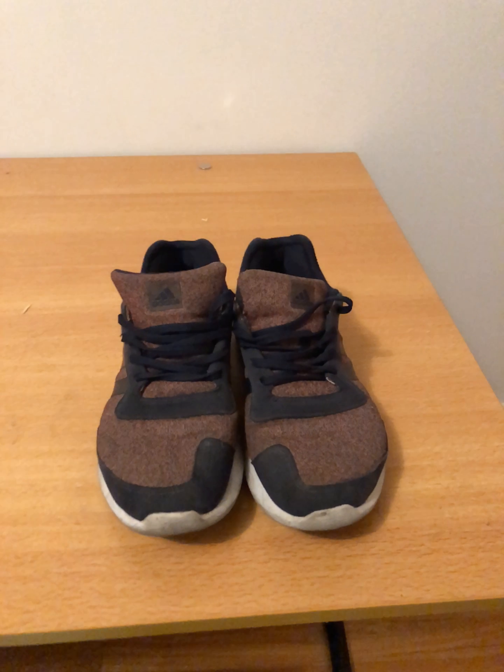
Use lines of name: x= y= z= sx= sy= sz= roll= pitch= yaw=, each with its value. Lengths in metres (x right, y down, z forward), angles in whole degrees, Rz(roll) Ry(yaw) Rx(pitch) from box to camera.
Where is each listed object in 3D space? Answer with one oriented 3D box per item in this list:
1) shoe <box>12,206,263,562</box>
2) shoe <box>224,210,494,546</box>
shoe: x=-0.074 y=0.009 z=0.436 sx=0.130 sy=0.099 sz=0.292 roll=-3 pitch=38 yaw=-5
shoe: x=0.052 y=0.009 z=0.425 sx=0.130 sy=0.099 sz=0.262 roll=-3 pitch=38 yaw=-5
